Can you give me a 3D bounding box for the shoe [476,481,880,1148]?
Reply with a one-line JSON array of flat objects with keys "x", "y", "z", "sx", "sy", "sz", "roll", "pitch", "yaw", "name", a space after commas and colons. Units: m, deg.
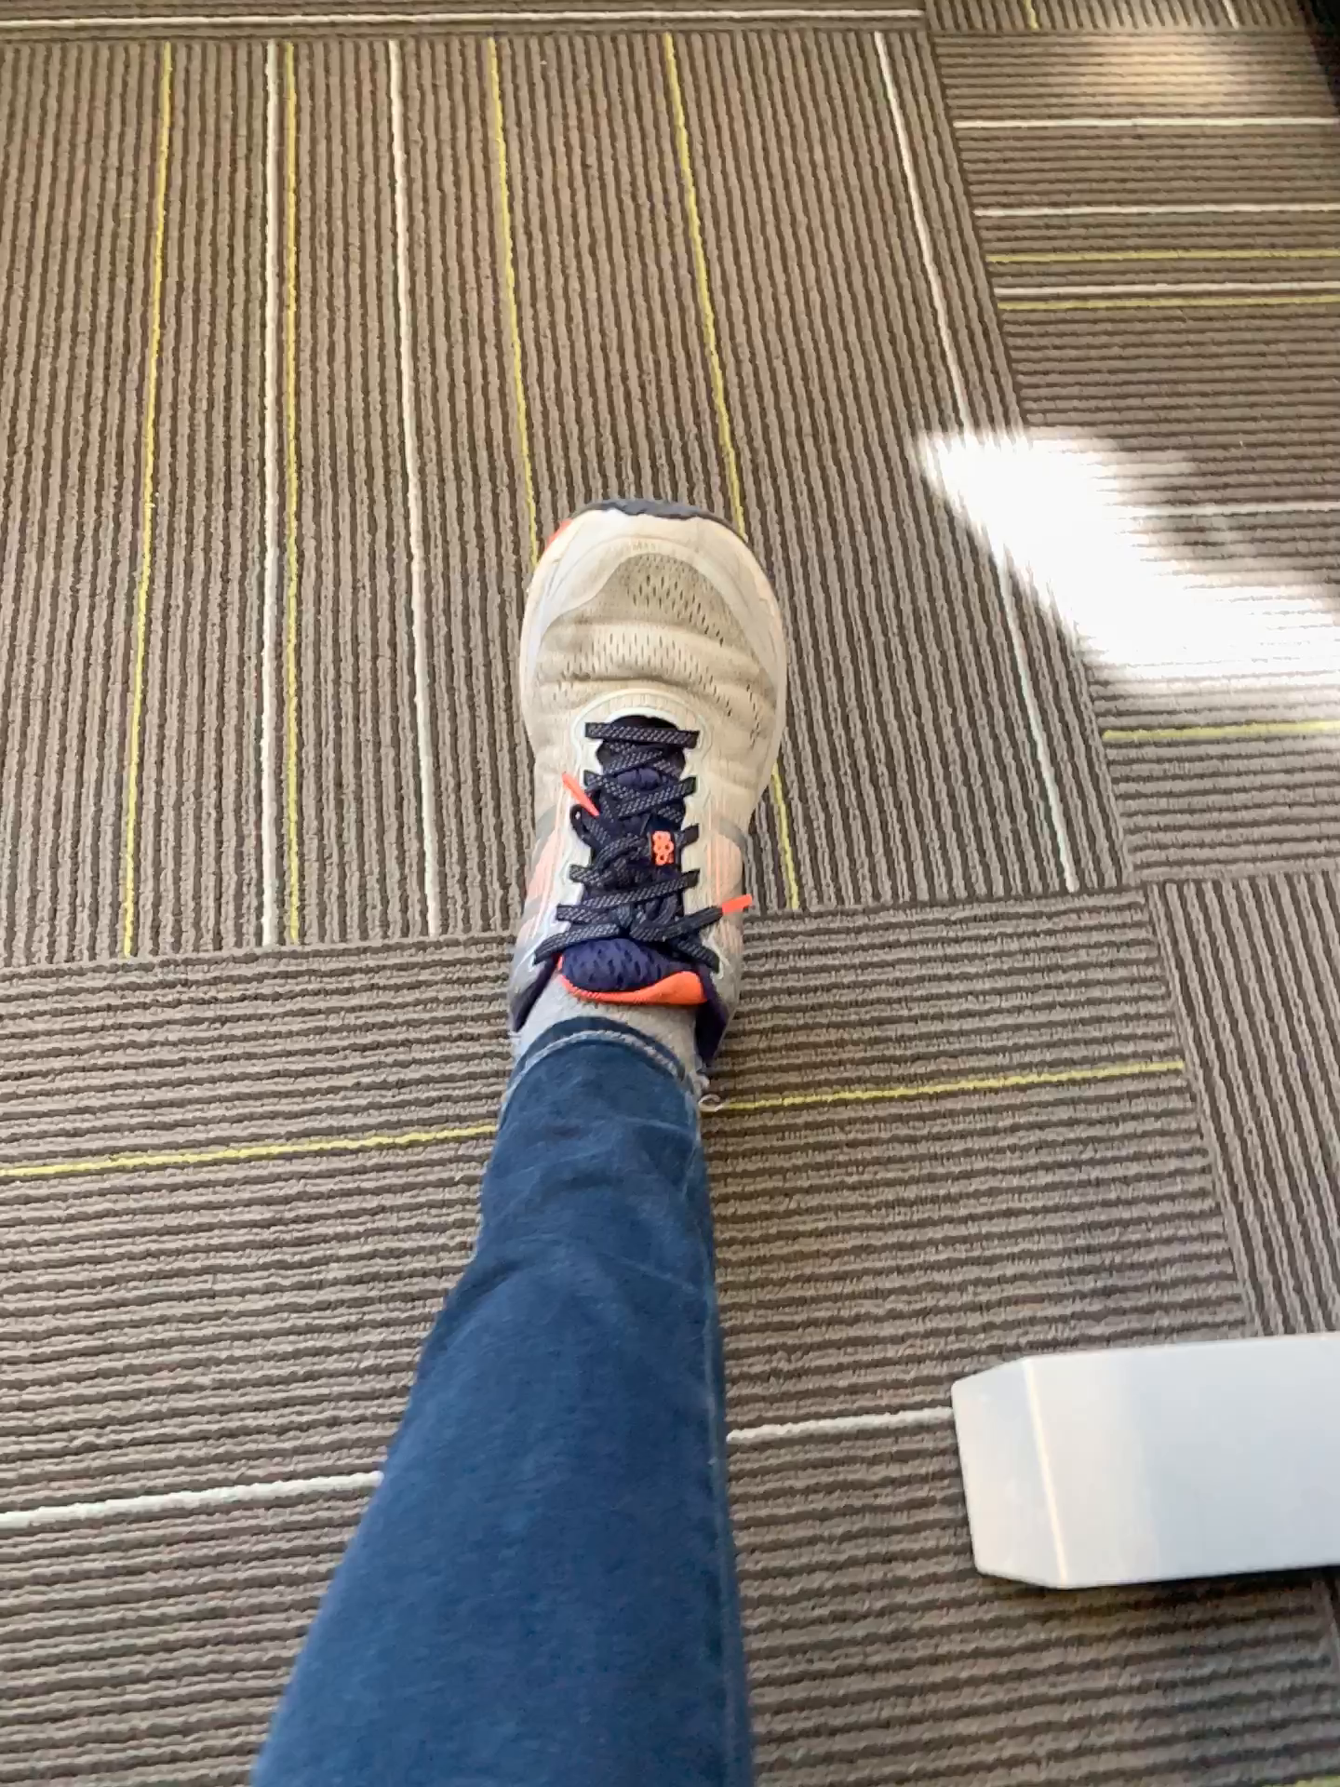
[{"x": -0.001, "y": -0.035, "z": 0.536, "sx": 0.120, "sy": 0.110, "sz": 0.230, "roll": 5, "pitch": 106, "yaw": -2, "name": "shoe"}]
